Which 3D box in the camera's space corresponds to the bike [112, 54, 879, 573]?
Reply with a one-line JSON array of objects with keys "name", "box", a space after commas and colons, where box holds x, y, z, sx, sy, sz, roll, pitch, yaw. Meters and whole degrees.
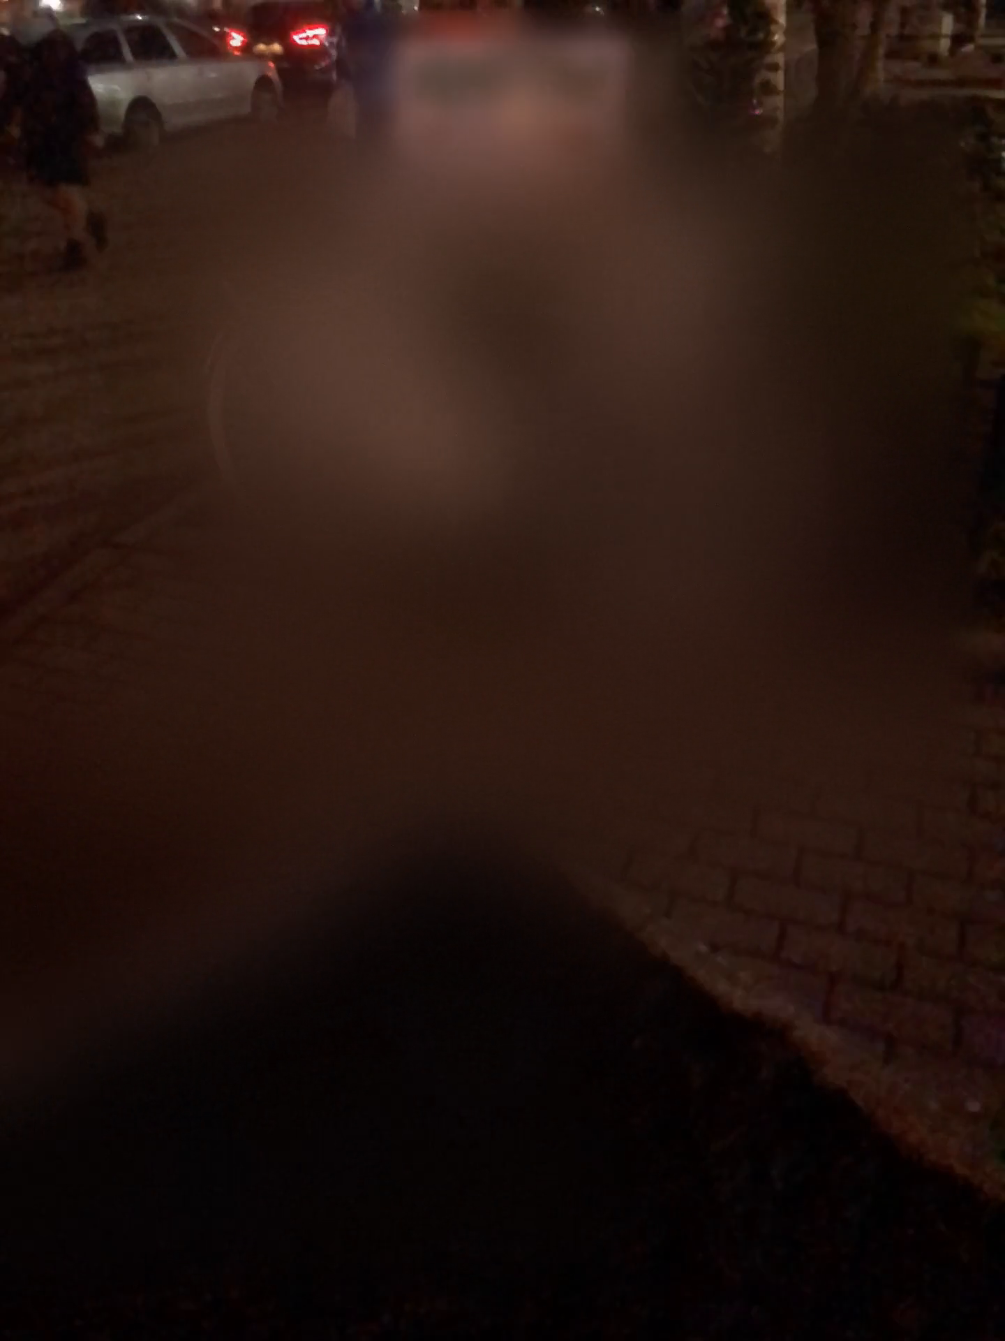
[{"name": "bike", "box": [-0.023, -0.947, 3.042, 1.828, 1.118, 0.609, 6, 33, 19]}]
